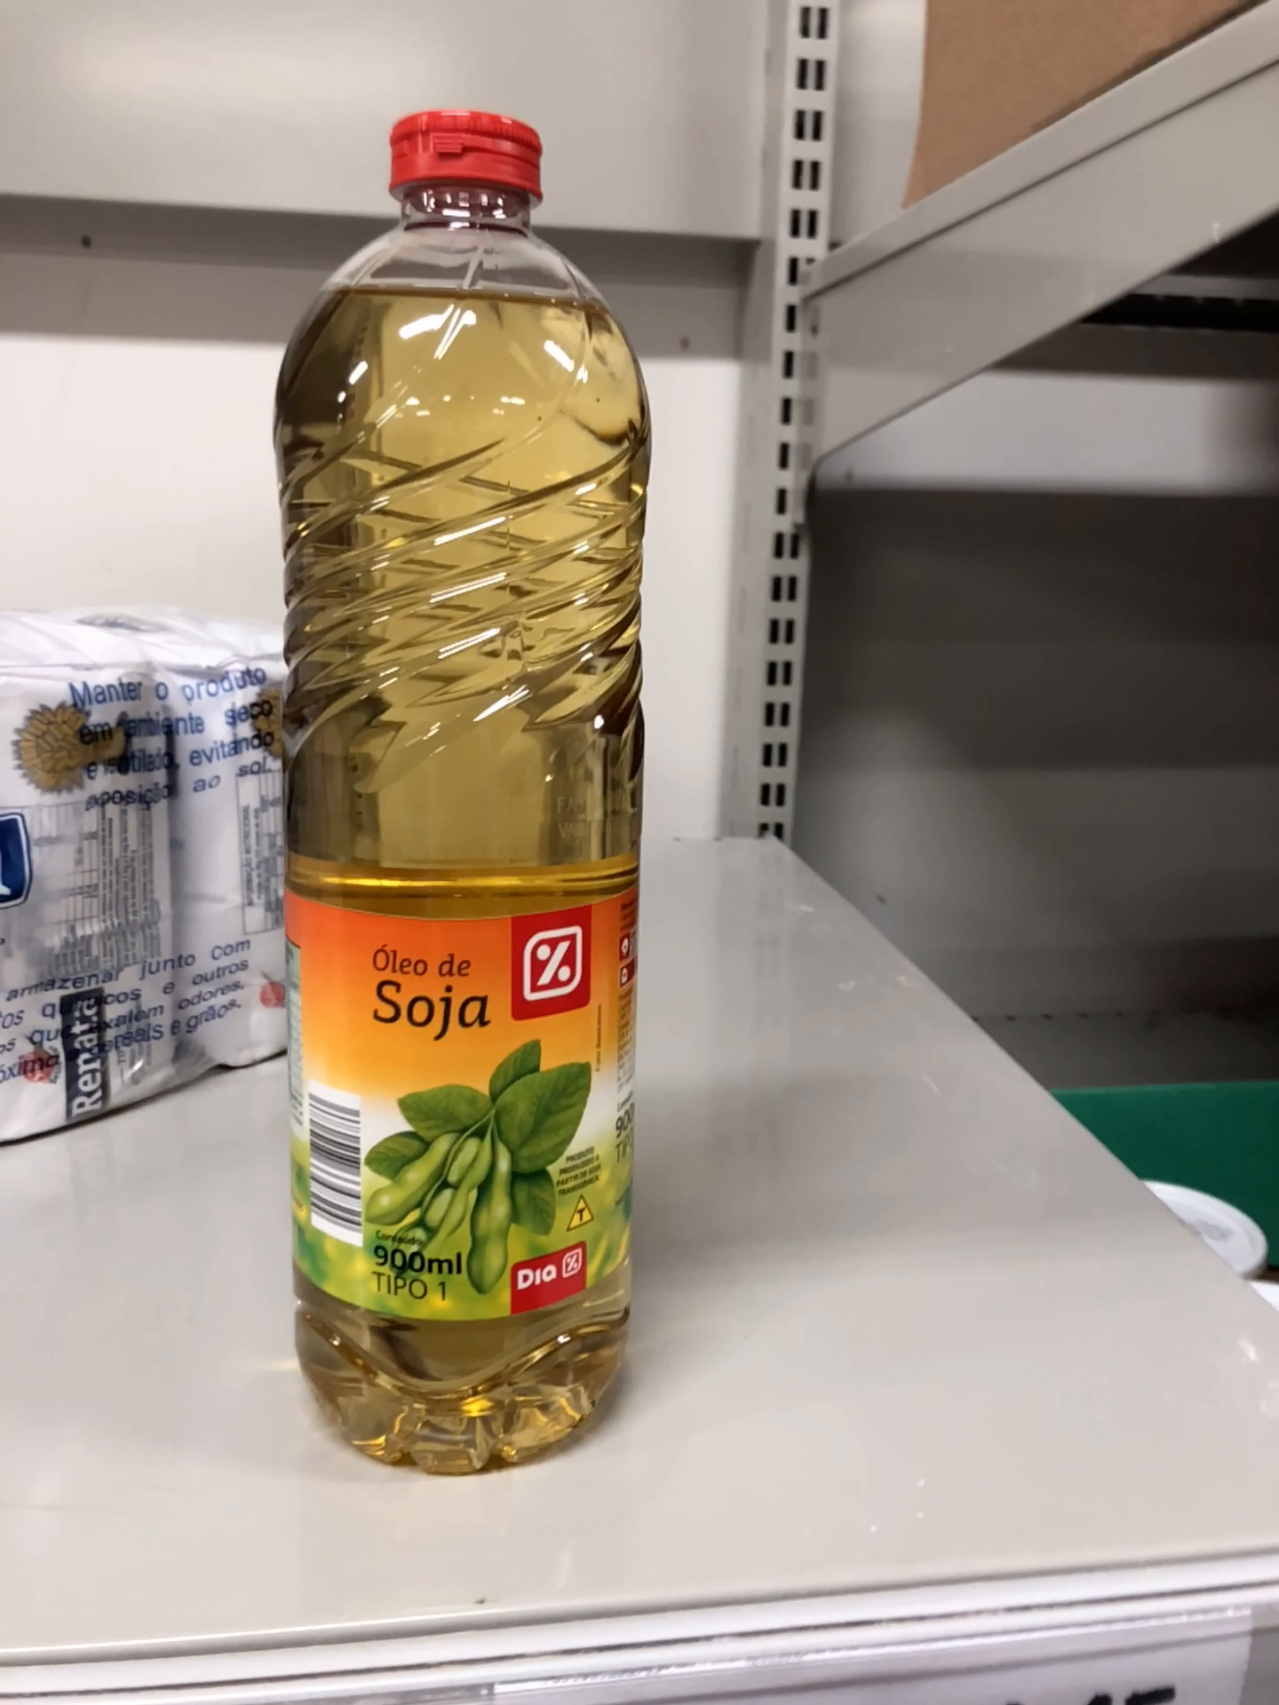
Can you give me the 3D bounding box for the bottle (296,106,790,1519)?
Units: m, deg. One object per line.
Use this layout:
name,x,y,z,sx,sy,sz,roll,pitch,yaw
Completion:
bottle,-0.022,-0.002,0.294,0.080,0.259,0.070,3,12,0
